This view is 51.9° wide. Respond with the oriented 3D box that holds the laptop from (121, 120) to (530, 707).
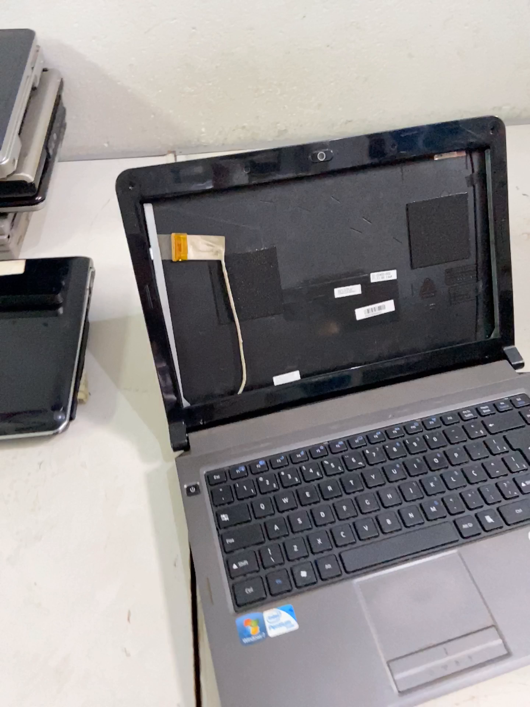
[{"bbox_3d":[0.100,0.014,0.406,0.343,0.174,0.366,-12,49,-10],"label":"laptop"}]
